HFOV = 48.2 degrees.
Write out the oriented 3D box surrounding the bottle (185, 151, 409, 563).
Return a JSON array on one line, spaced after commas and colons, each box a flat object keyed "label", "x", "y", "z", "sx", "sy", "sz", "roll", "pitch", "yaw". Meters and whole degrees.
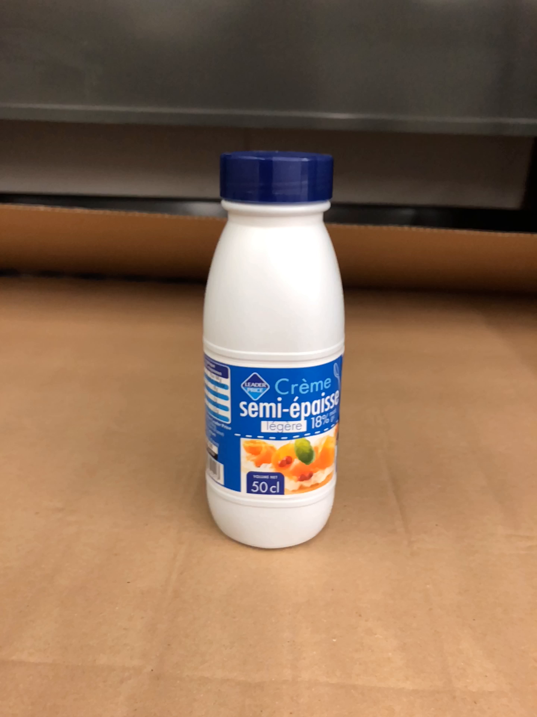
[{"label": "bottle", "x": 0.004, "y": -0.004, "z": 0.278, "sx": 0.080, "sy": 0.169, "sz": 0.080, "roll": 1, "pitch": 20, "yaw": -1}]
